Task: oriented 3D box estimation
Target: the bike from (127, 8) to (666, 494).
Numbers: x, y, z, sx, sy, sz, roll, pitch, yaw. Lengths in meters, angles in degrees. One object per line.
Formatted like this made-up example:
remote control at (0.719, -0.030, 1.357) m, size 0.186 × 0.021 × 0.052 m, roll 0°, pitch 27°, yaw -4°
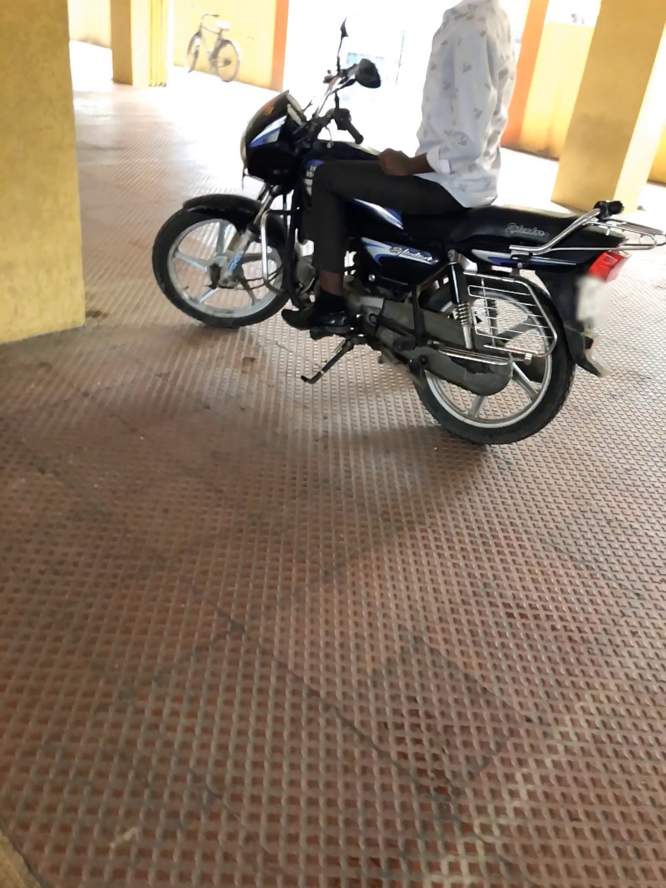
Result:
bike at (0.153, -0.778, 2.666) m, size 1.706 × 1.107 × 0.688 m, roll 24°, pitch 34°, yaw 21°
